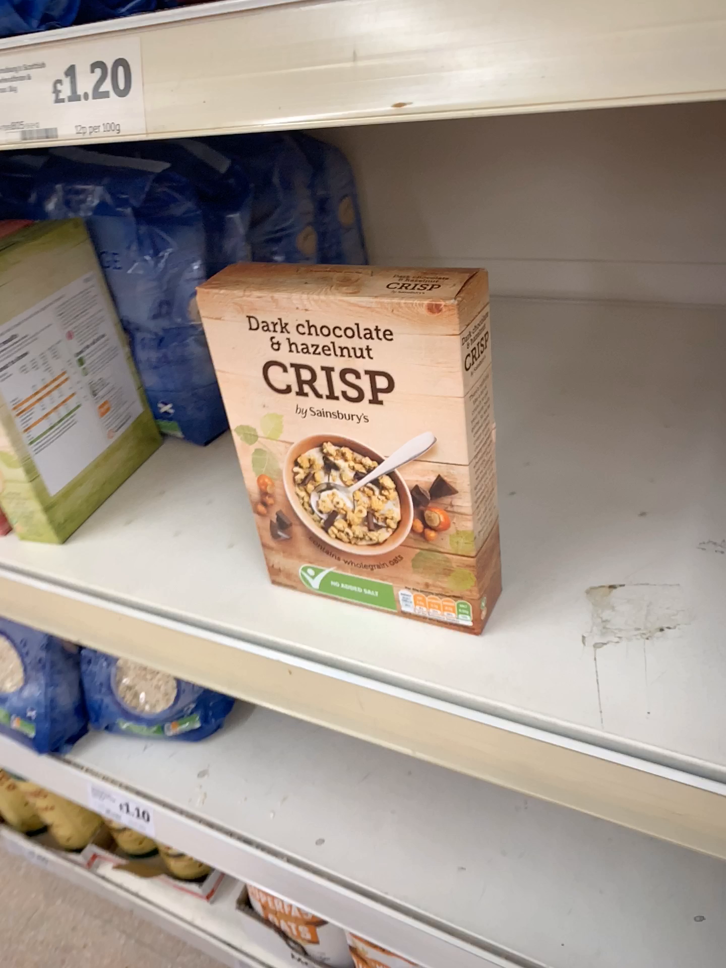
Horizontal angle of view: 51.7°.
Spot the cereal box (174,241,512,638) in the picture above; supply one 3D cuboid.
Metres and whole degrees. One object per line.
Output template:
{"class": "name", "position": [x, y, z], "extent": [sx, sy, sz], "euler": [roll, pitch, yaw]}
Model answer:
{"class": "cereal box", "position": [-0.003, -0.029, 0.507], "extent": [0.190, 0.248, 0.060], "euler": [10, 37, 26]}
